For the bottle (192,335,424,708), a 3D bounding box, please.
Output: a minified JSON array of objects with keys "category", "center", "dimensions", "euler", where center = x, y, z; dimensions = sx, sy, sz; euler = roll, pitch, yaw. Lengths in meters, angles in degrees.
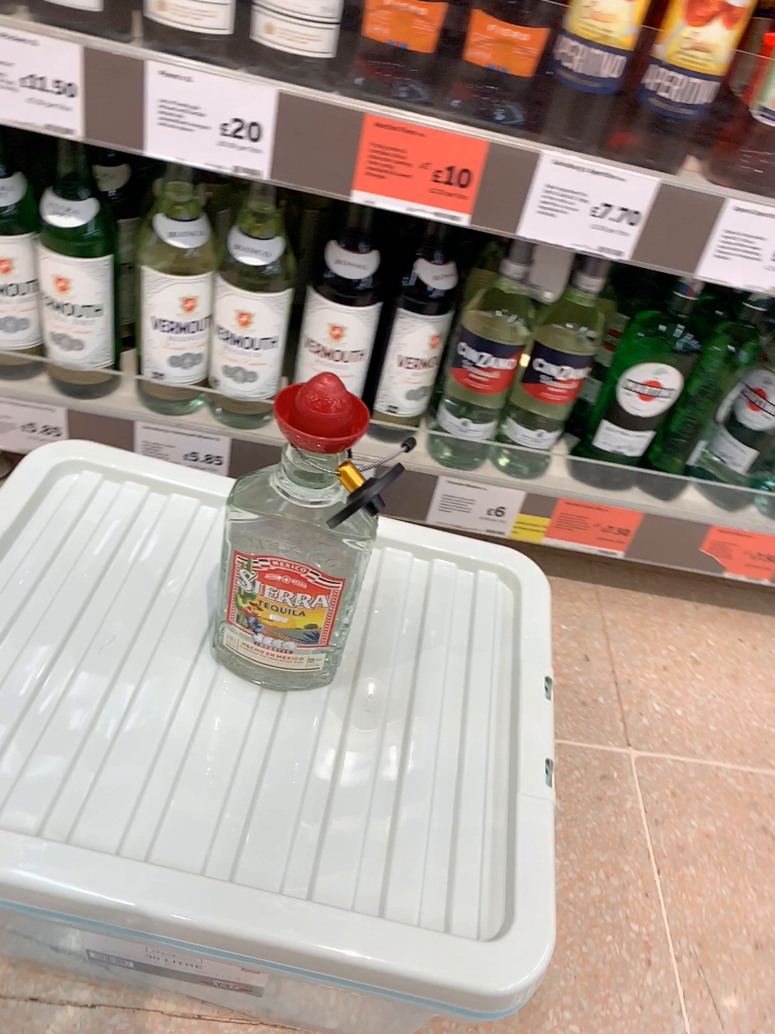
[{"category":"bottle","center":[-0.059,0.017,0.503],"dimensions":[0.103,0.240,0.058],"euler":[16,42,0]}]
